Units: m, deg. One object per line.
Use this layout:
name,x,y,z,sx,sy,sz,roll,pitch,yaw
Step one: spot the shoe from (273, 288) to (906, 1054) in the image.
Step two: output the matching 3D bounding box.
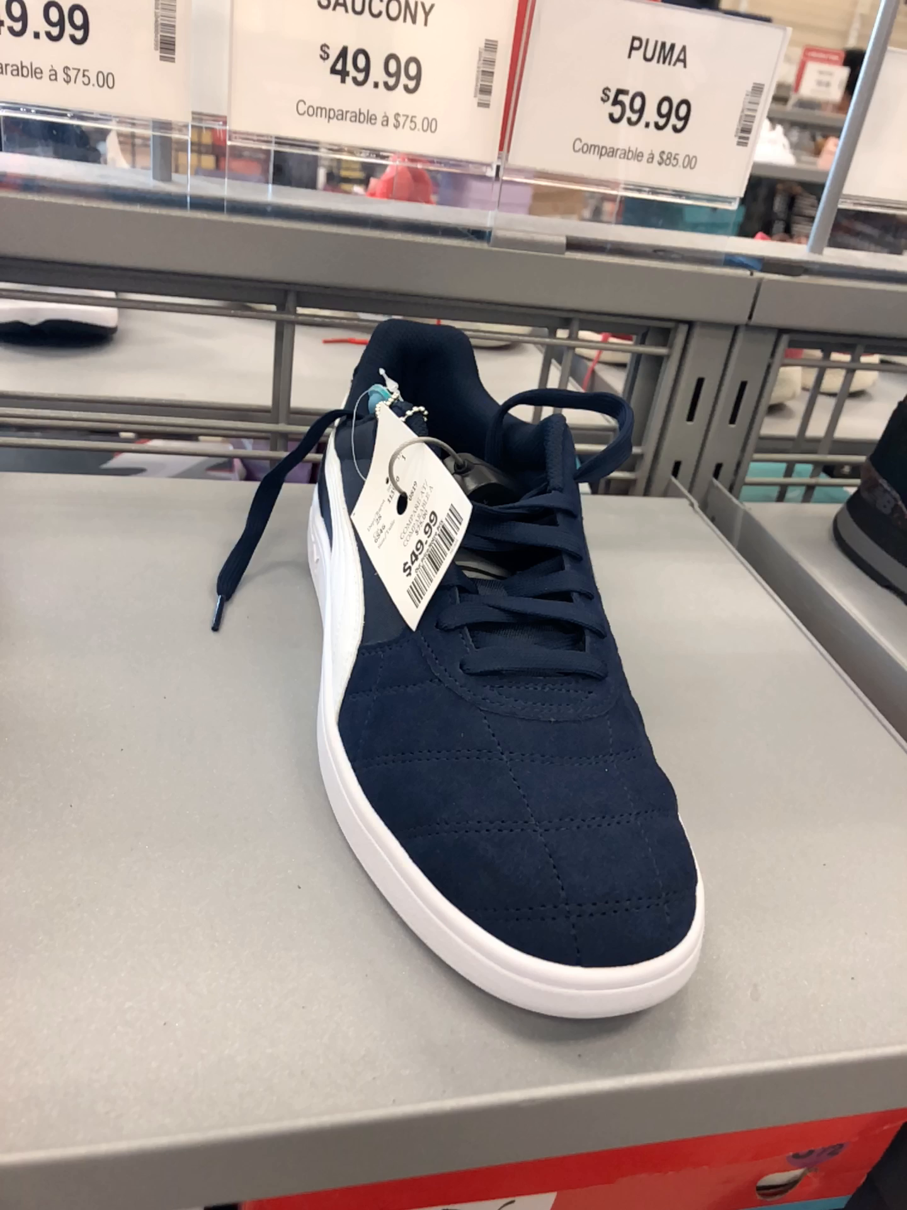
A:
shoe,0.016,-0.007,0.327,0.119,0.119,0.242,0,31,-16
